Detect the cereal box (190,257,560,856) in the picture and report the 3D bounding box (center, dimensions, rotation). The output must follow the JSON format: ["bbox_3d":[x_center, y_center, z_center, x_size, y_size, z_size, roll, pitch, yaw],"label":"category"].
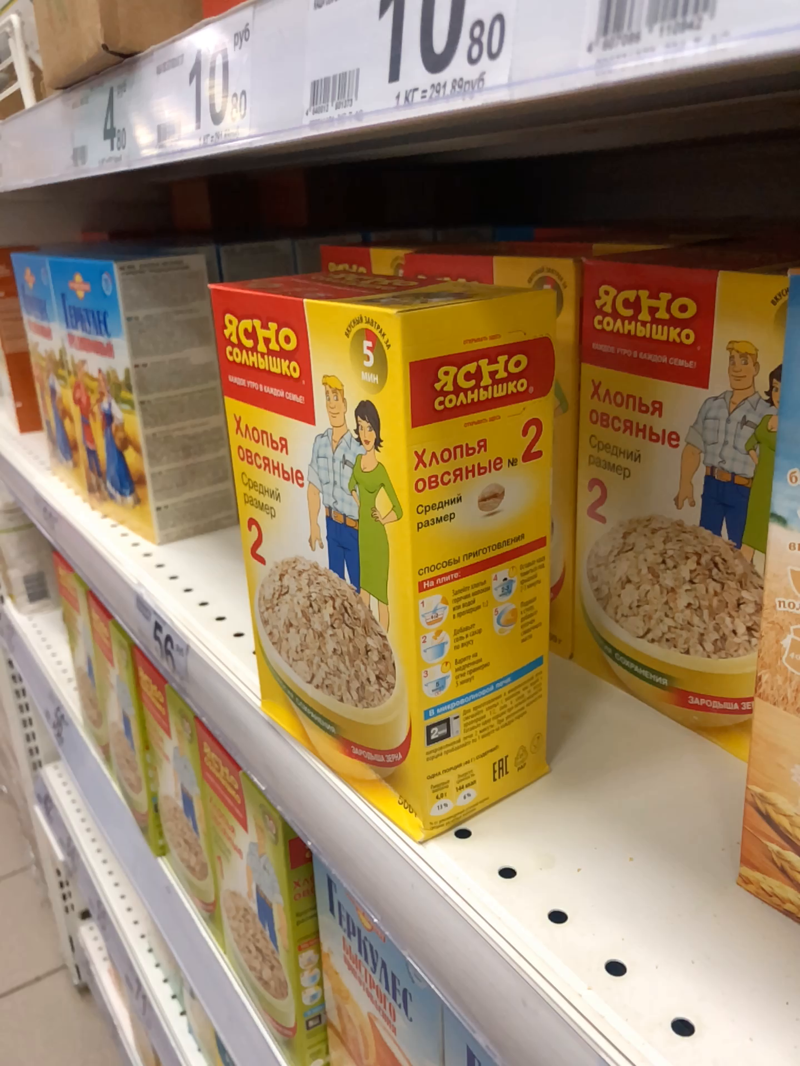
[{"bbox_3d":[-0.011,-0.003,0.342,0.070,0.189,0.130,-16,24,-31],"label":"cereal box"}]
